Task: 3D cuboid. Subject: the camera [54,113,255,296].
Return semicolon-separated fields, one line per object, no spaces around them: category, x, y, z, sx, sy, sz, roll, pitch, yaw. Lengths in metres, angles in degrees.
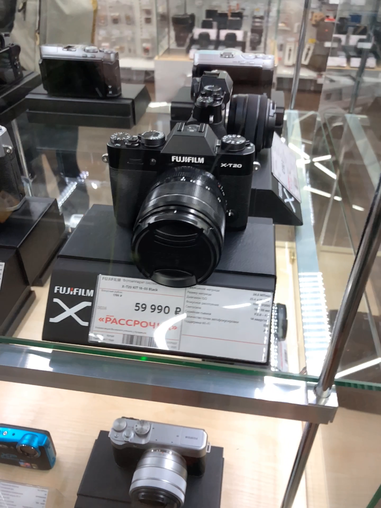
camera;-0.016;-0.045;0.324;0.120;0.081;0.122;5;37;6
